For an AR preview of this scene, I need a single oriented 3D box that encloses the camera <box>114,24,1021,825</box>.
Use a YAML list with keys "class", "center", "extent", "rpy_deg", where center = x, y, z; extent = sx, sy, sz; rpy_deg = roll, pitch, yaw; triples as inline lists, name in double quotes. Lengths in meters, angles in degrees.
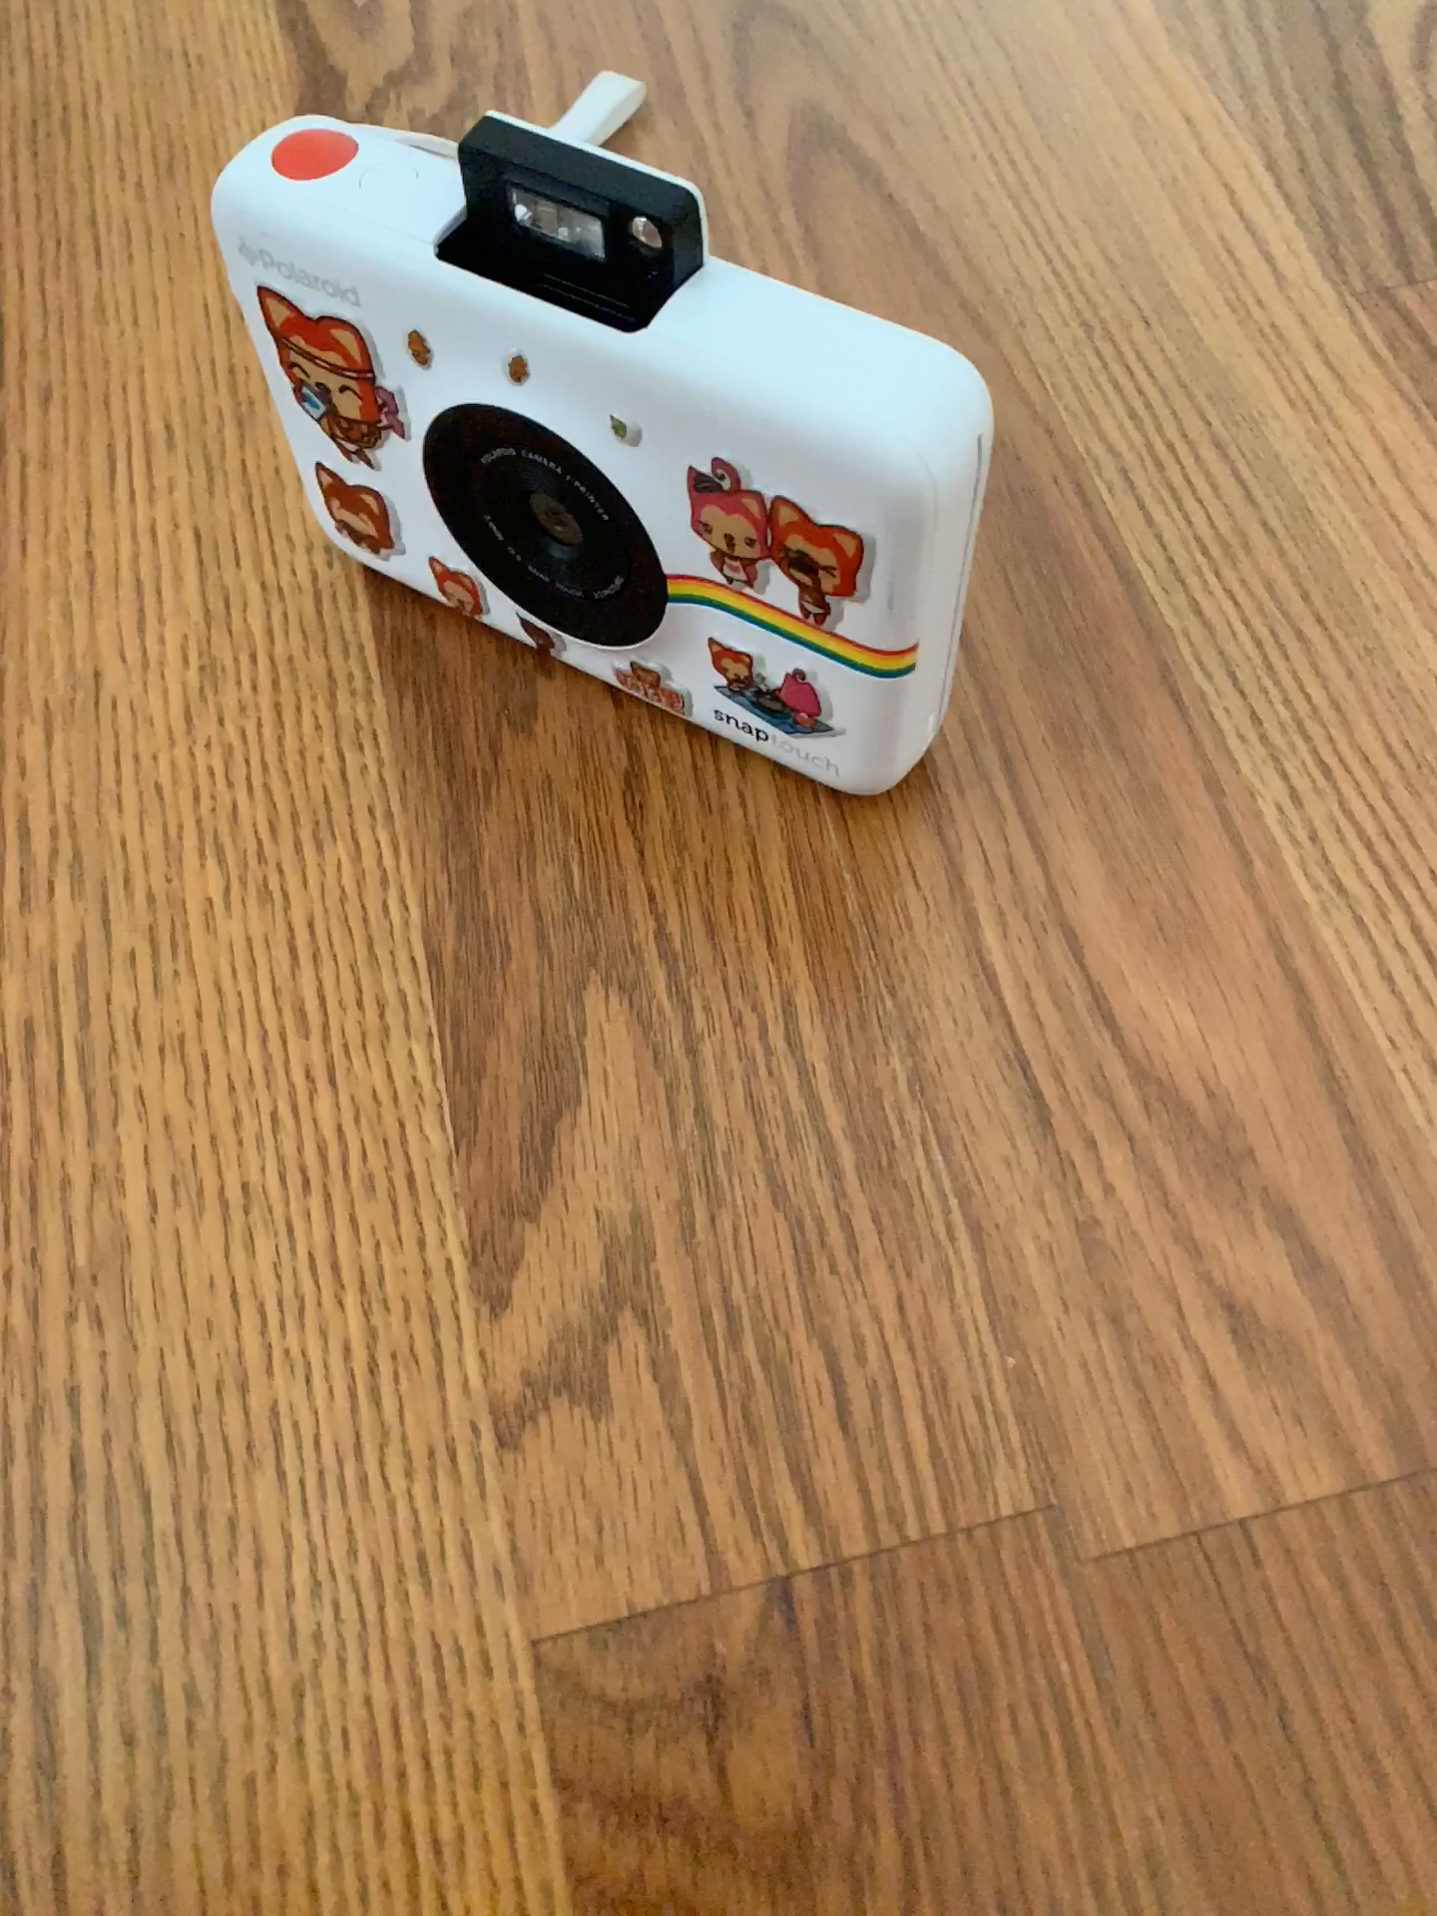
- class: "camera"
  center: [-0.022, -0.079, 0.228]
  extent: [0.125, 0.081, 0.026]
  rpy_deg: [27, 66, 17]
